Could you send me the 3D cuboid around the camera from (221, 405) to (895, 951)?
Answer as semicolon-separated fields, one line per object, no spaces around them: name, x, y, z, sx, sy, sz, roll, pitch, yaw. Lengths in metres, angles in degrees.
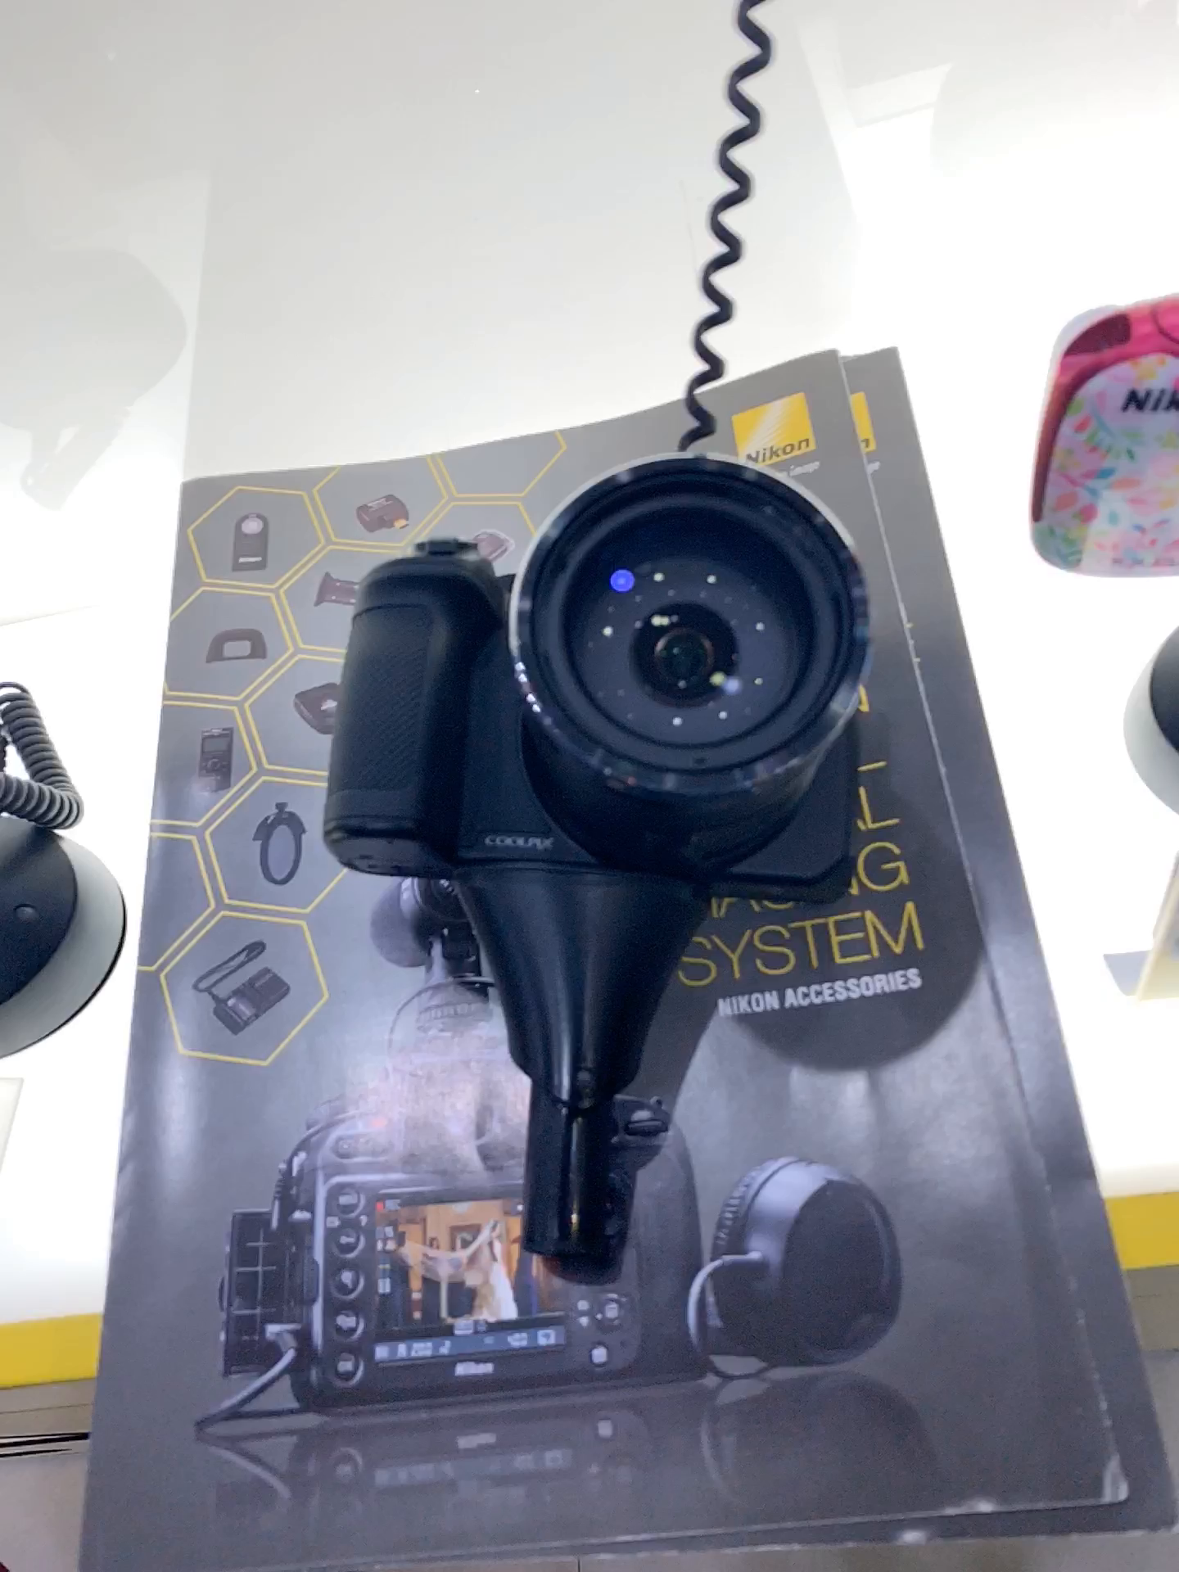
camera;0.002;-0.018;0.259;0.120;0.080;0.090;2;77;13
